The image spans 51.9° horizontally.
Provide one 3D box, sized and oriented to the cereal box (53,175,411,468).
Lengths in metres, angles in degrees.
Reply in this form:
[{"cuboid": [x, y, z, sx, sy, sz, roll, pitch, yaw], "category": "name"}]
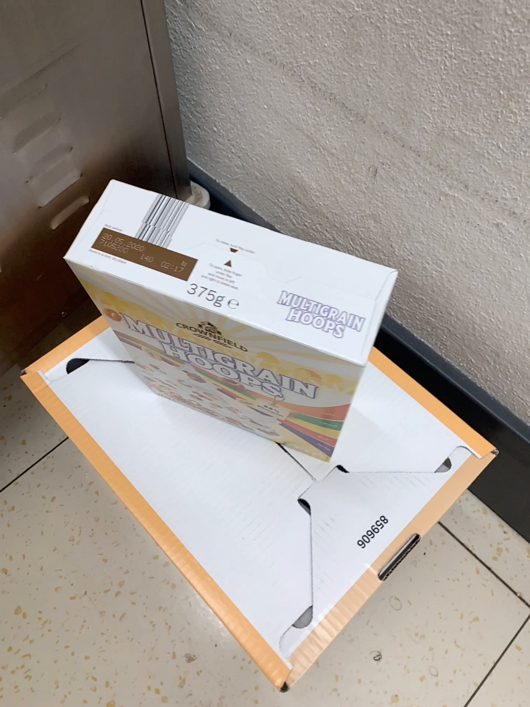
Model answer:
[{"cuboid": [-0.018, -0.003, 0.435, 0.200, 0.249, 0.070, 20, 69, 10], "category": "cereal box"}]
